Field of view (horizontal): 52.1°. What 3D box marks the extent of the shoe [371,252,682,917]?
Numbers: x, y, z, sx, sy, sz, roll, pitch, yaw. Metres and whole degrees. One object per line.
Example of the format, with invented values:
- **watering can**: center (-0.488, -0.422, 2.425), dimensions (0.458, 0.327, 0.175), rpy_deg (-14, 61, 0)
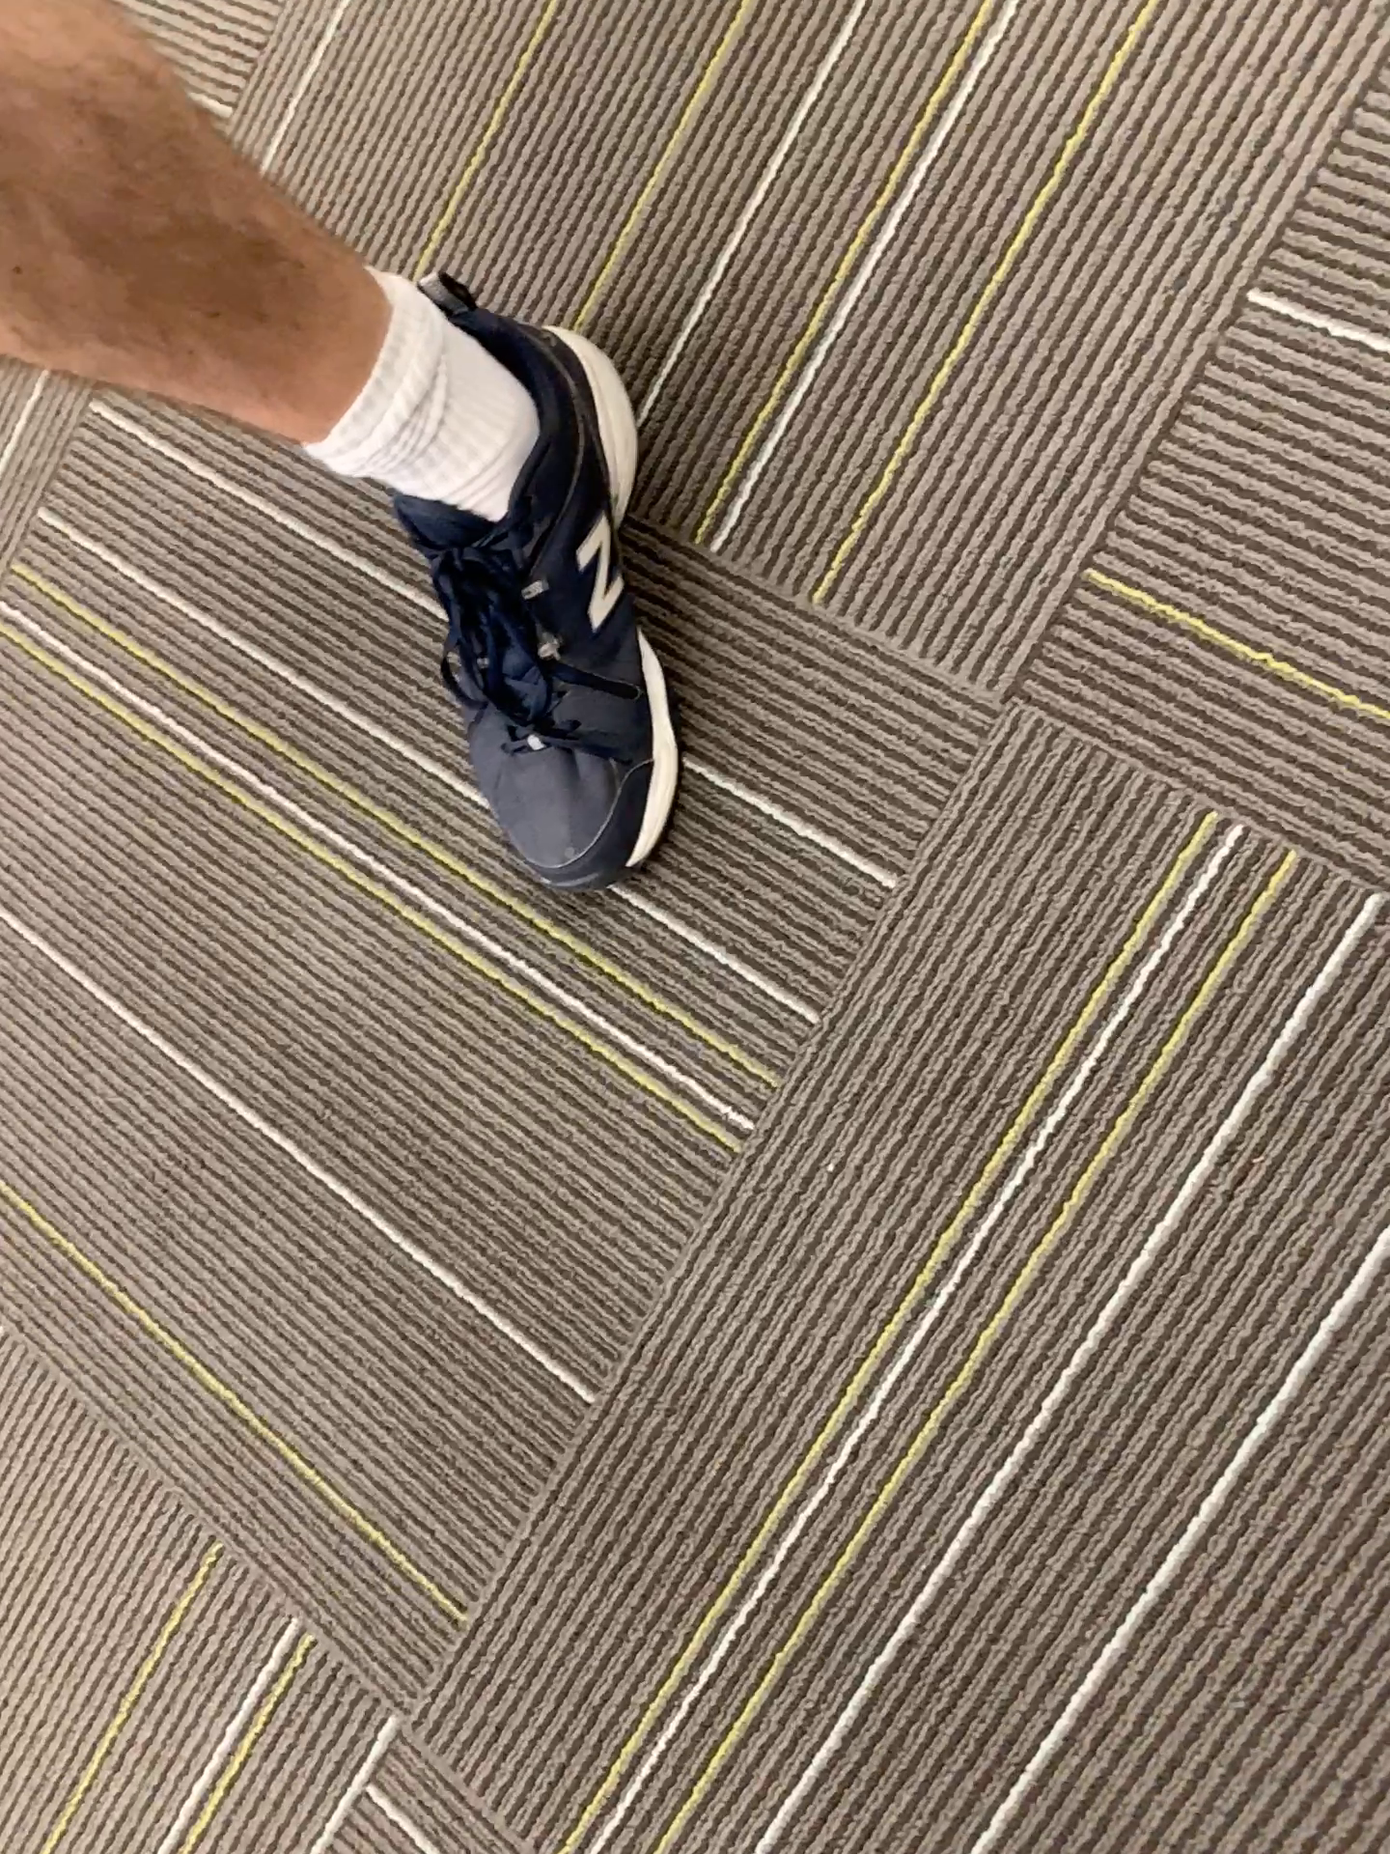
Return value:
- **shoe**: center (-0.088, -0.168, 0.737), dimensions (0.130, 0.070, 0.310), rpy_deg (-6, 84, 22)
